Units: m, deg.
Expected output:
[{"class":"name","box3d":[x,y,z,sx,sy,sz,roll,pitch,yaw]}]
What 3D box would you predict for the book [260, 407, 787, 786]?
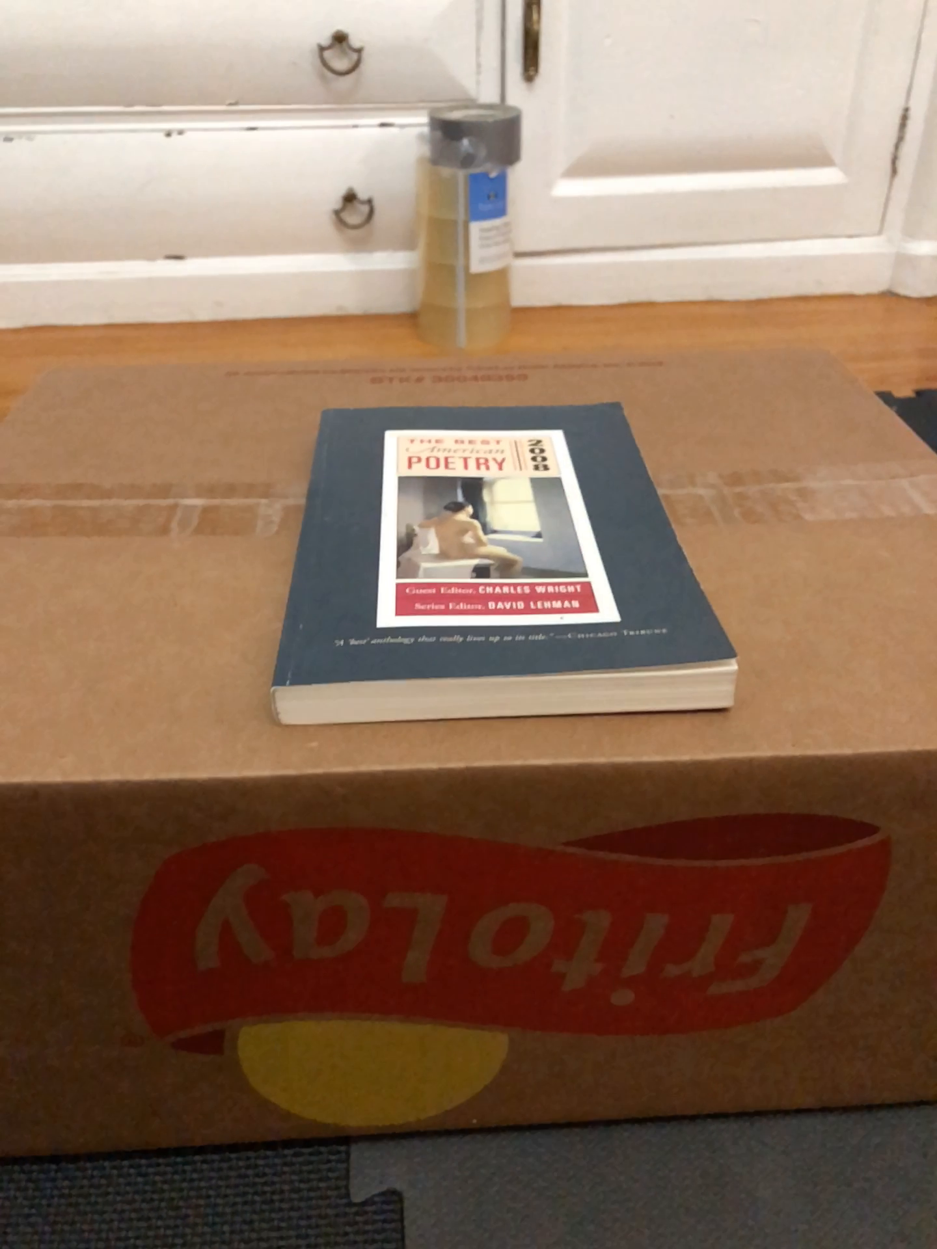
[{"class":"book","box3d":[0.009,-0.028,0.396,0.150,0.020,0.231,-3,33,-3]}]
